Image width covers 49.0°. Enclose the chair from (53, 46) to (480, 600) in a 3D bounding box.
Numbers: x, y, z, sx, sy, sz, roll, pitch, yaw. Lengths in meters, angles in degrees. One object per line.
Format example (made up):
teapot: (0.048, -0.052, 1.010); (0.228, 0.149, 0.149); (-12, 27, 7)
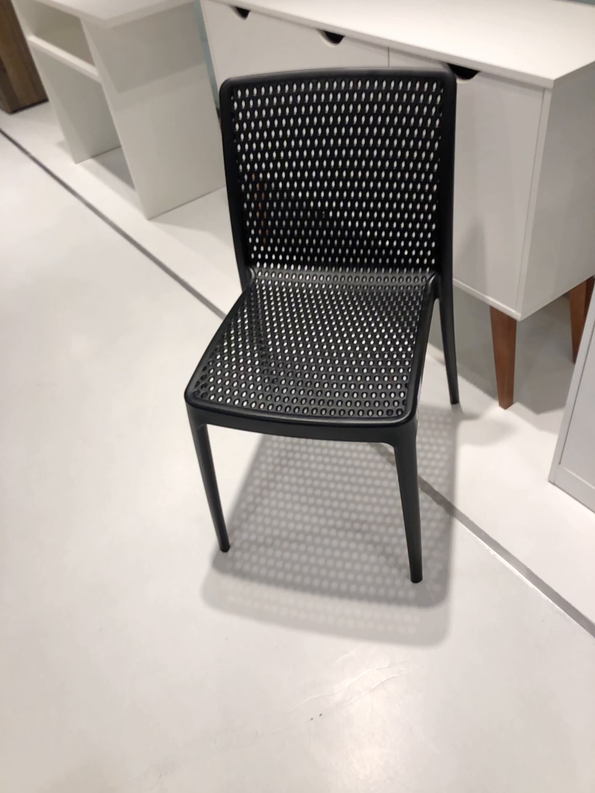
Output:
chair: (0.051, -0.121, 1.313); (0.530, 0.864, 0.604); (4, 46, 14)
